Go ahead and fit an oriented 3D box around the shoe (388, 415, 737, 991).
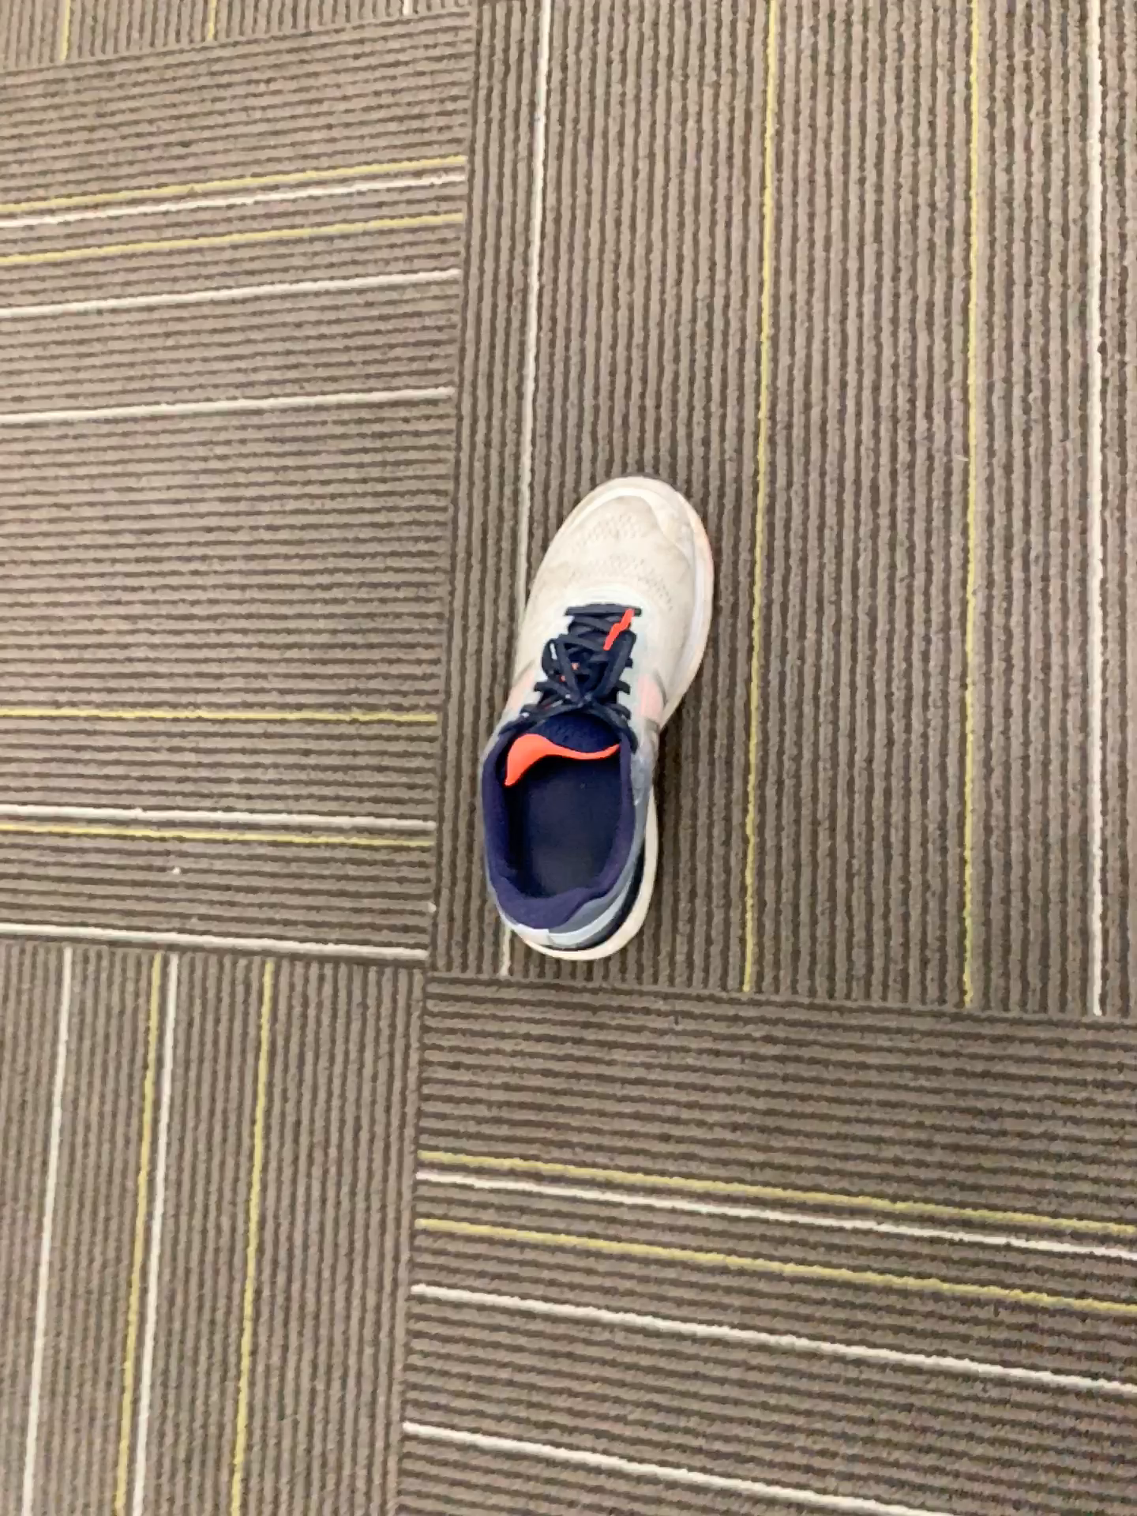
[{"bbox_3d":[0.001,-0.031,0.657,0.130,0.080,0.290,9,87,15],"label":"shoe"}]
